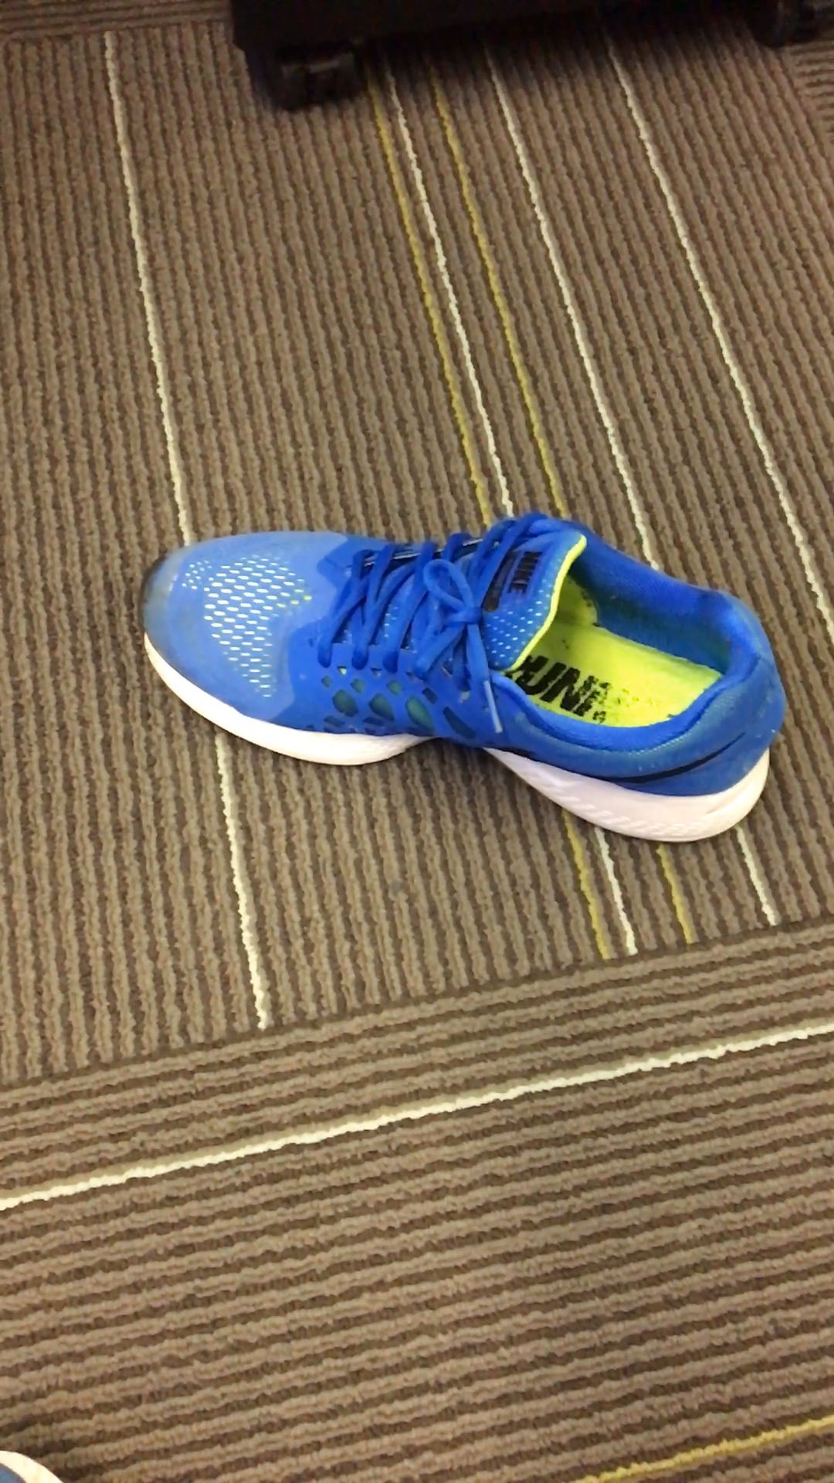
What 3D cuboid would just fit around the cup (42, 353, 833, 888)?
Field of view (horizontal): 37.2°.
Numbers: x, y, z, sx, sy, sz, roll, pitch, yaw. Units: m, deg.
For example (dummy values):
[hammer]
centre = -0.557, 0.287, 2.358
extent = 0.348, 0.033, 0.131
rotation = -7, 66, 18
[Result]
[cup]
centre = 0.019, -0.049, 0.525
extent = 0.300, 0.100, 0.130
rotation = 13, 66, 4
